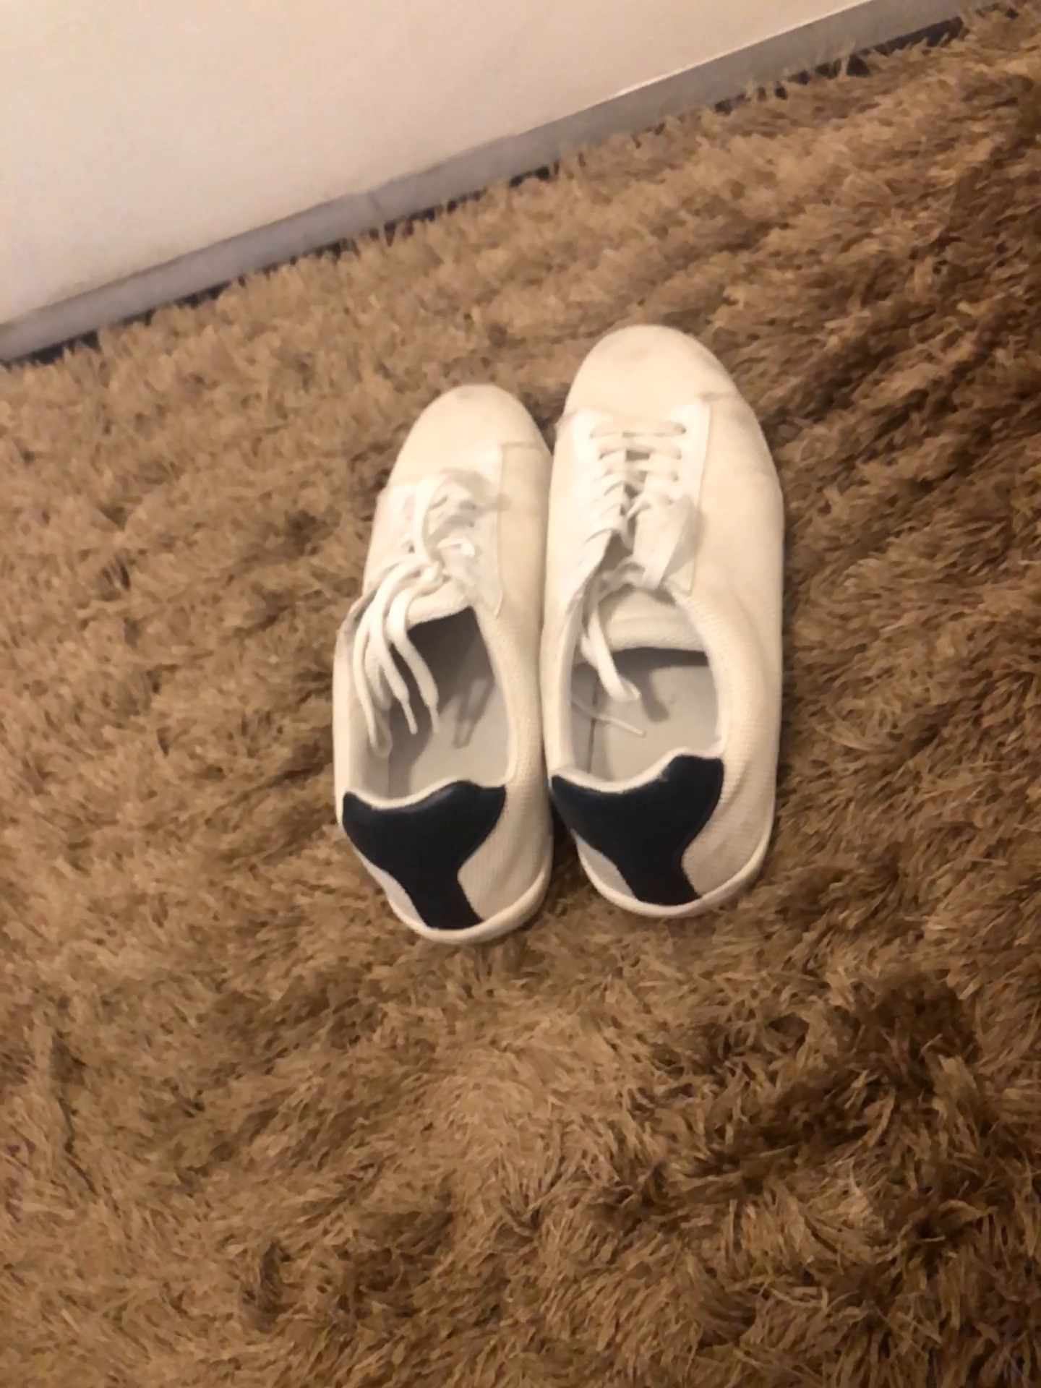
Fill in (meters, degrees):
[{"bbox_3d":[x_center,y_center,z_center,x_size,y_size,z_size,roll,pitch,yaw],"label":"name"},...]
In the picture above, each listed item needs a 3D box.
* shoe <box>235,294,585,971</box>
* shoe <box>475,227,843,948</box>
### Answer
[{"bbox_3d":[-0.037,-0.031,0.480,0.101,0.079,0.264,-11,58,19],"label":"shoe"},{"bbox_3d":[0.050,-0.046,0.450,0.105,0.079,0.264,-10,58,19],"label":"shoe"}]
